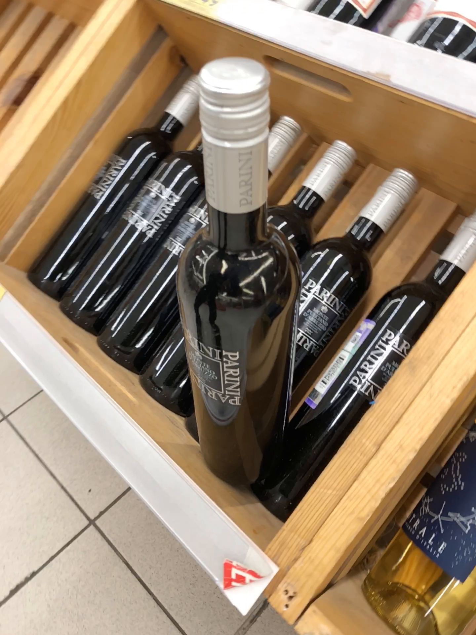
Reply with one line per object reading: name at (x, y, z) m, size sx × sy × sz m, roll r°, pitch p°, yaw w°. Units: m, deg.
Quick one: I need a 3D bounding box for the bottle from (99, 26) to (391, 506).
bottle at (-0.001, -0.002, 0.314) m, size 0.080 × 0.279 × 0.090 m, roll -27°, pitch 54°, yaw -23°
